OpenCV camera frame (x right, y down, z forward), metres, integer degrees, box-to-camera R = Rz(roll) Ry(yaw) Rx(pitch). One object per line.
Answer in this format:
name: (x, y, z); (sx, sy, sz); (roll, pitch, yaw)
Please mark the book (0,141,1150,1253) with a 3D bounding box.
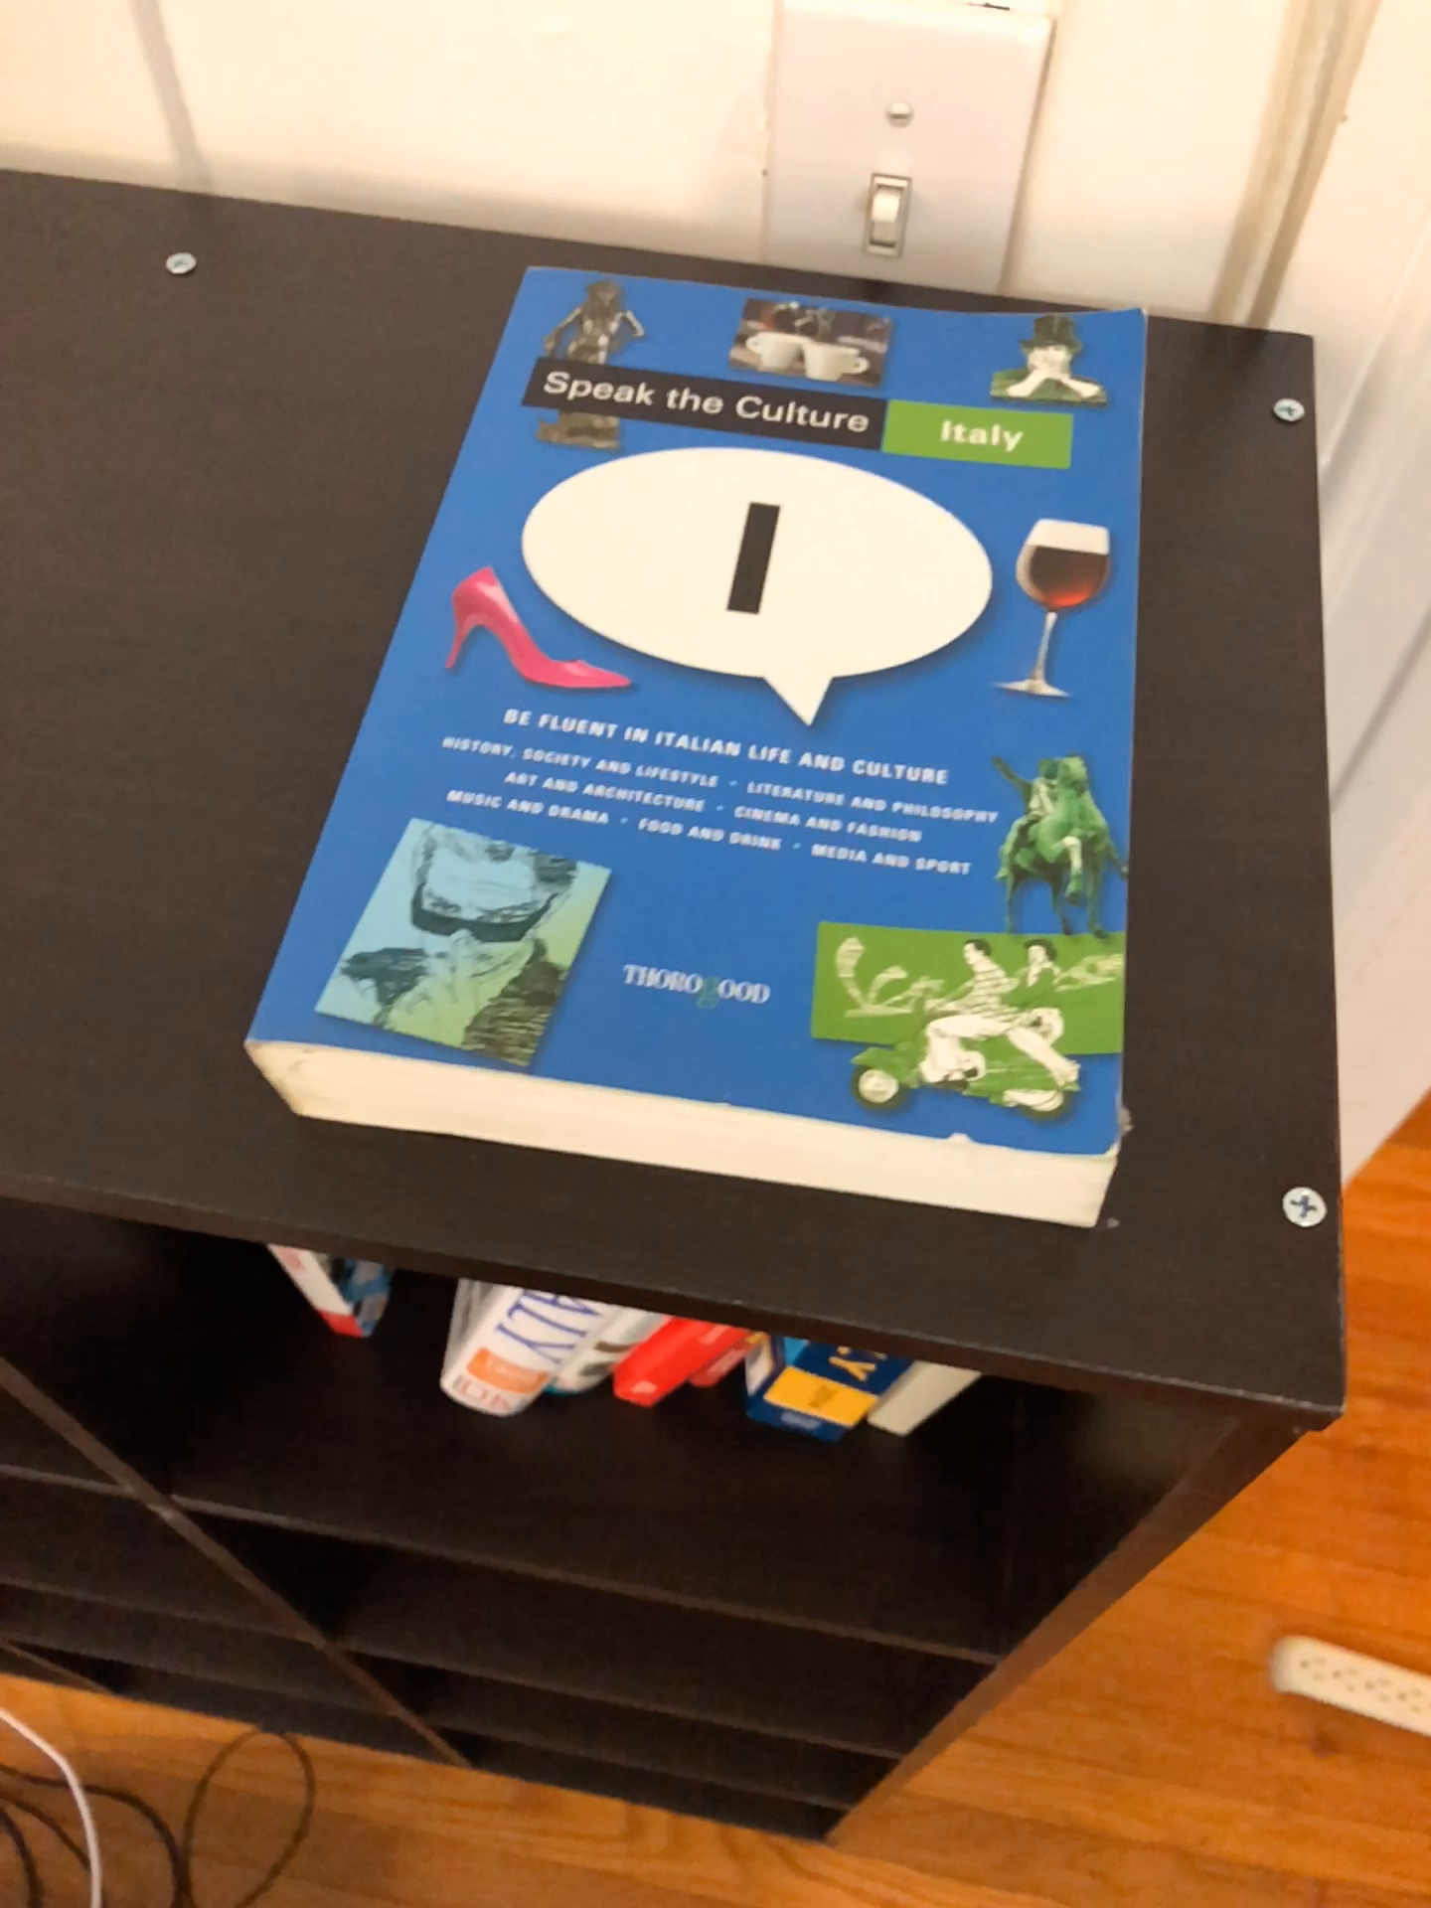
book: (-0.011, -0.077, 0.343); (0.200, 0.030, 0.261); (7, 58, 4)
